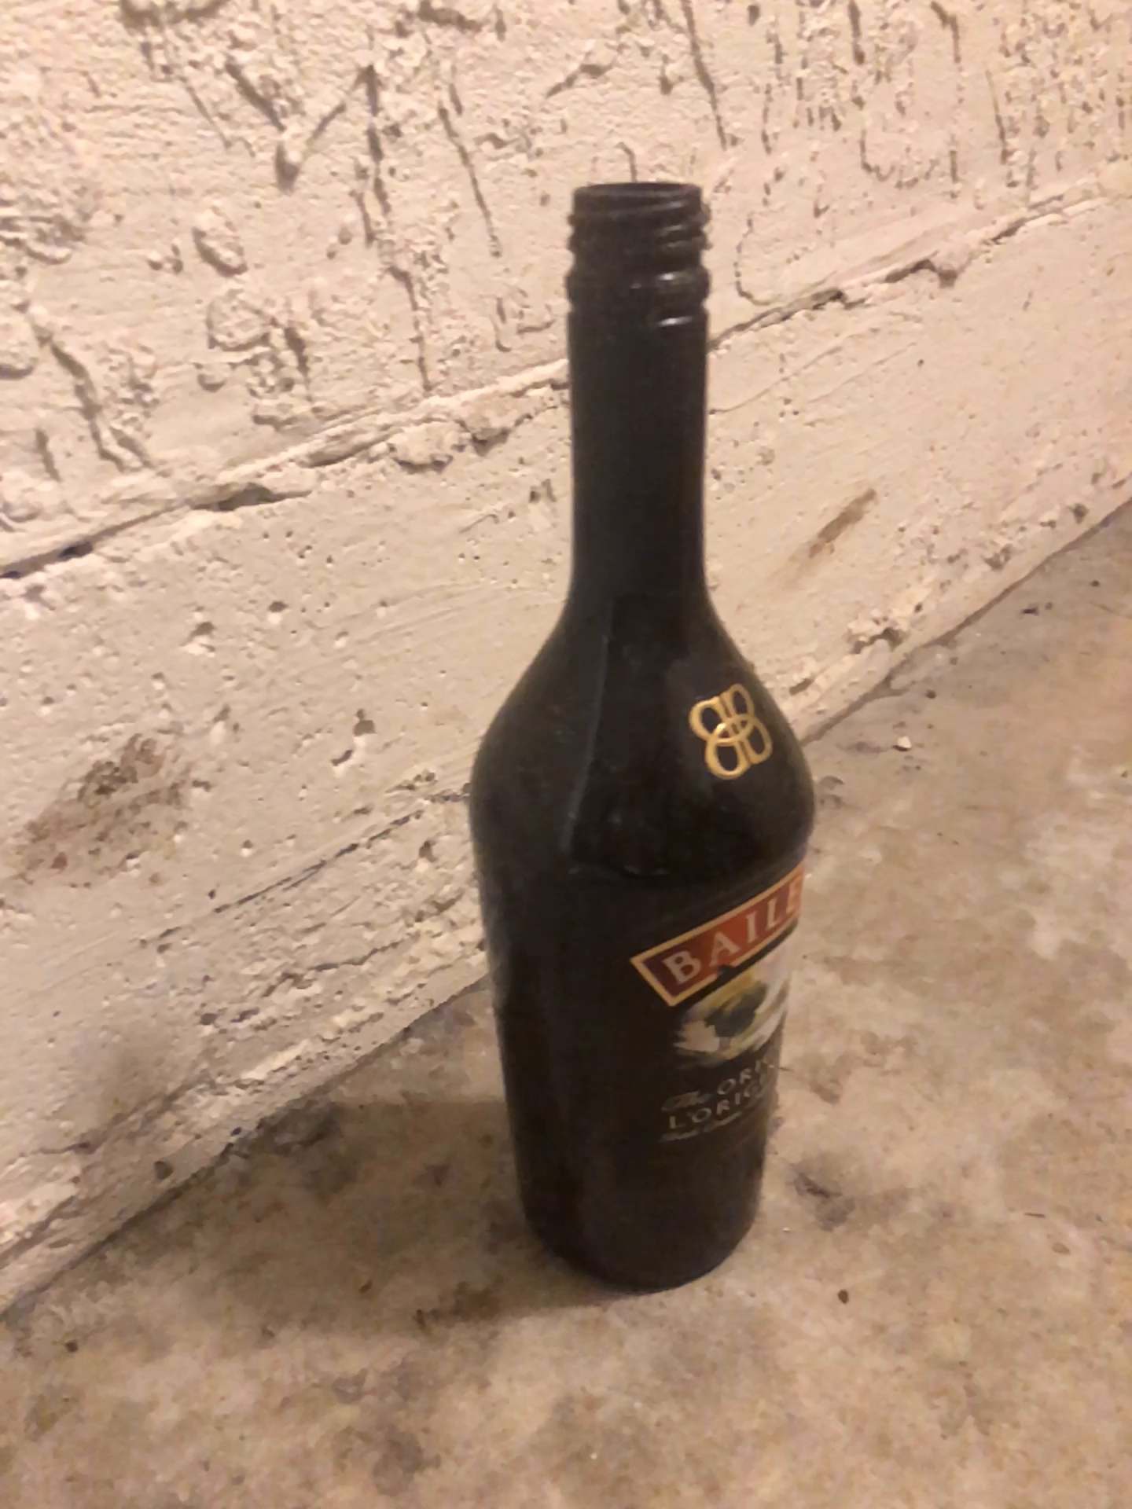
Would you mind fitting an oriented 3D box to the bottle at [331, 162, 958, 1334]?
[{"bbox_3d":[0.024,0.004,0.302,0.090,0.258,0.080,-29,38,-36],"label":"bottle"}]
